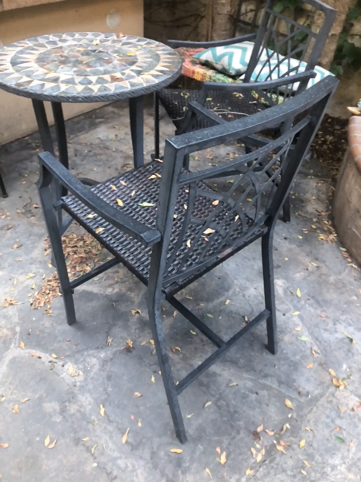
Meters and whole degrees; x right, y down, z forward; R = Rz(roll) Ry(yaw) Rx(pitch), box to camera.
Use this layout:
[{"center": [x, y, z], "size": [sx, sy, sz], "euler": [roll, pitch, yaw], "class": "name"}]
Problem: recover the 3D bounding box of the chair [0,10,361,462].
[{"center": [0.006, -0.048, 1.172], "size": [0.684, 0.912, 0.692], "euler": [-30, 51, -31], "class": "chair"}]
